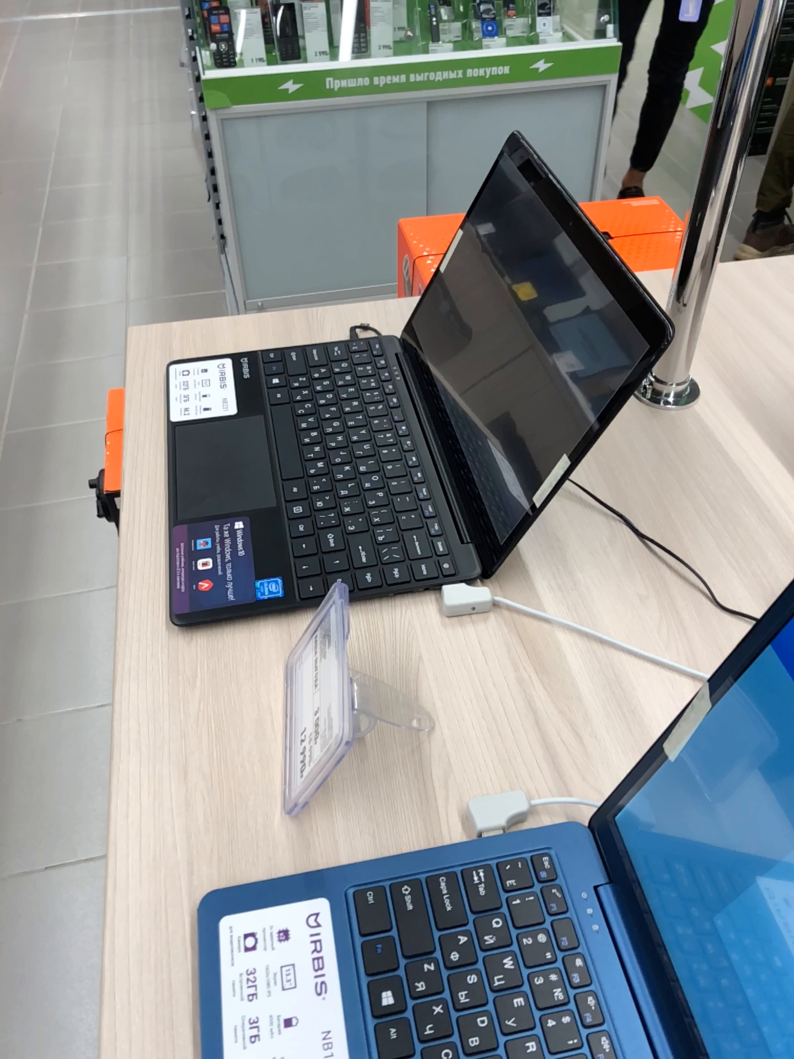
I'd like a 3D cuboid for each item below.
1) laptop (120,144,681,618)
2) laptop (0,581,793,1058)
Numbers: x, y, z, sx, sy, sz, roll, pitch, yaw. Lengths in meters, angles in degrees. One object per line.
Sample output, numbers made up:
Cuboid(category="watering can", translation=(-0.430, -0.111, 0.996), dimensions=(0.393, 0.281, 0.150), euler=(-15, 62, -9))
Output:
Cuboid(category="laptop", translation=(-0.019, -0.127, 0.638), dimensions=(0.306, 0.172, 0.306), euler=(-8, 43, -7))
Cuboid(category="laptop", translation=(0.062, 0.202, 0.274), dimensions=(0.265, 0.186, 0.310), euler=(-7, 43, -7))
